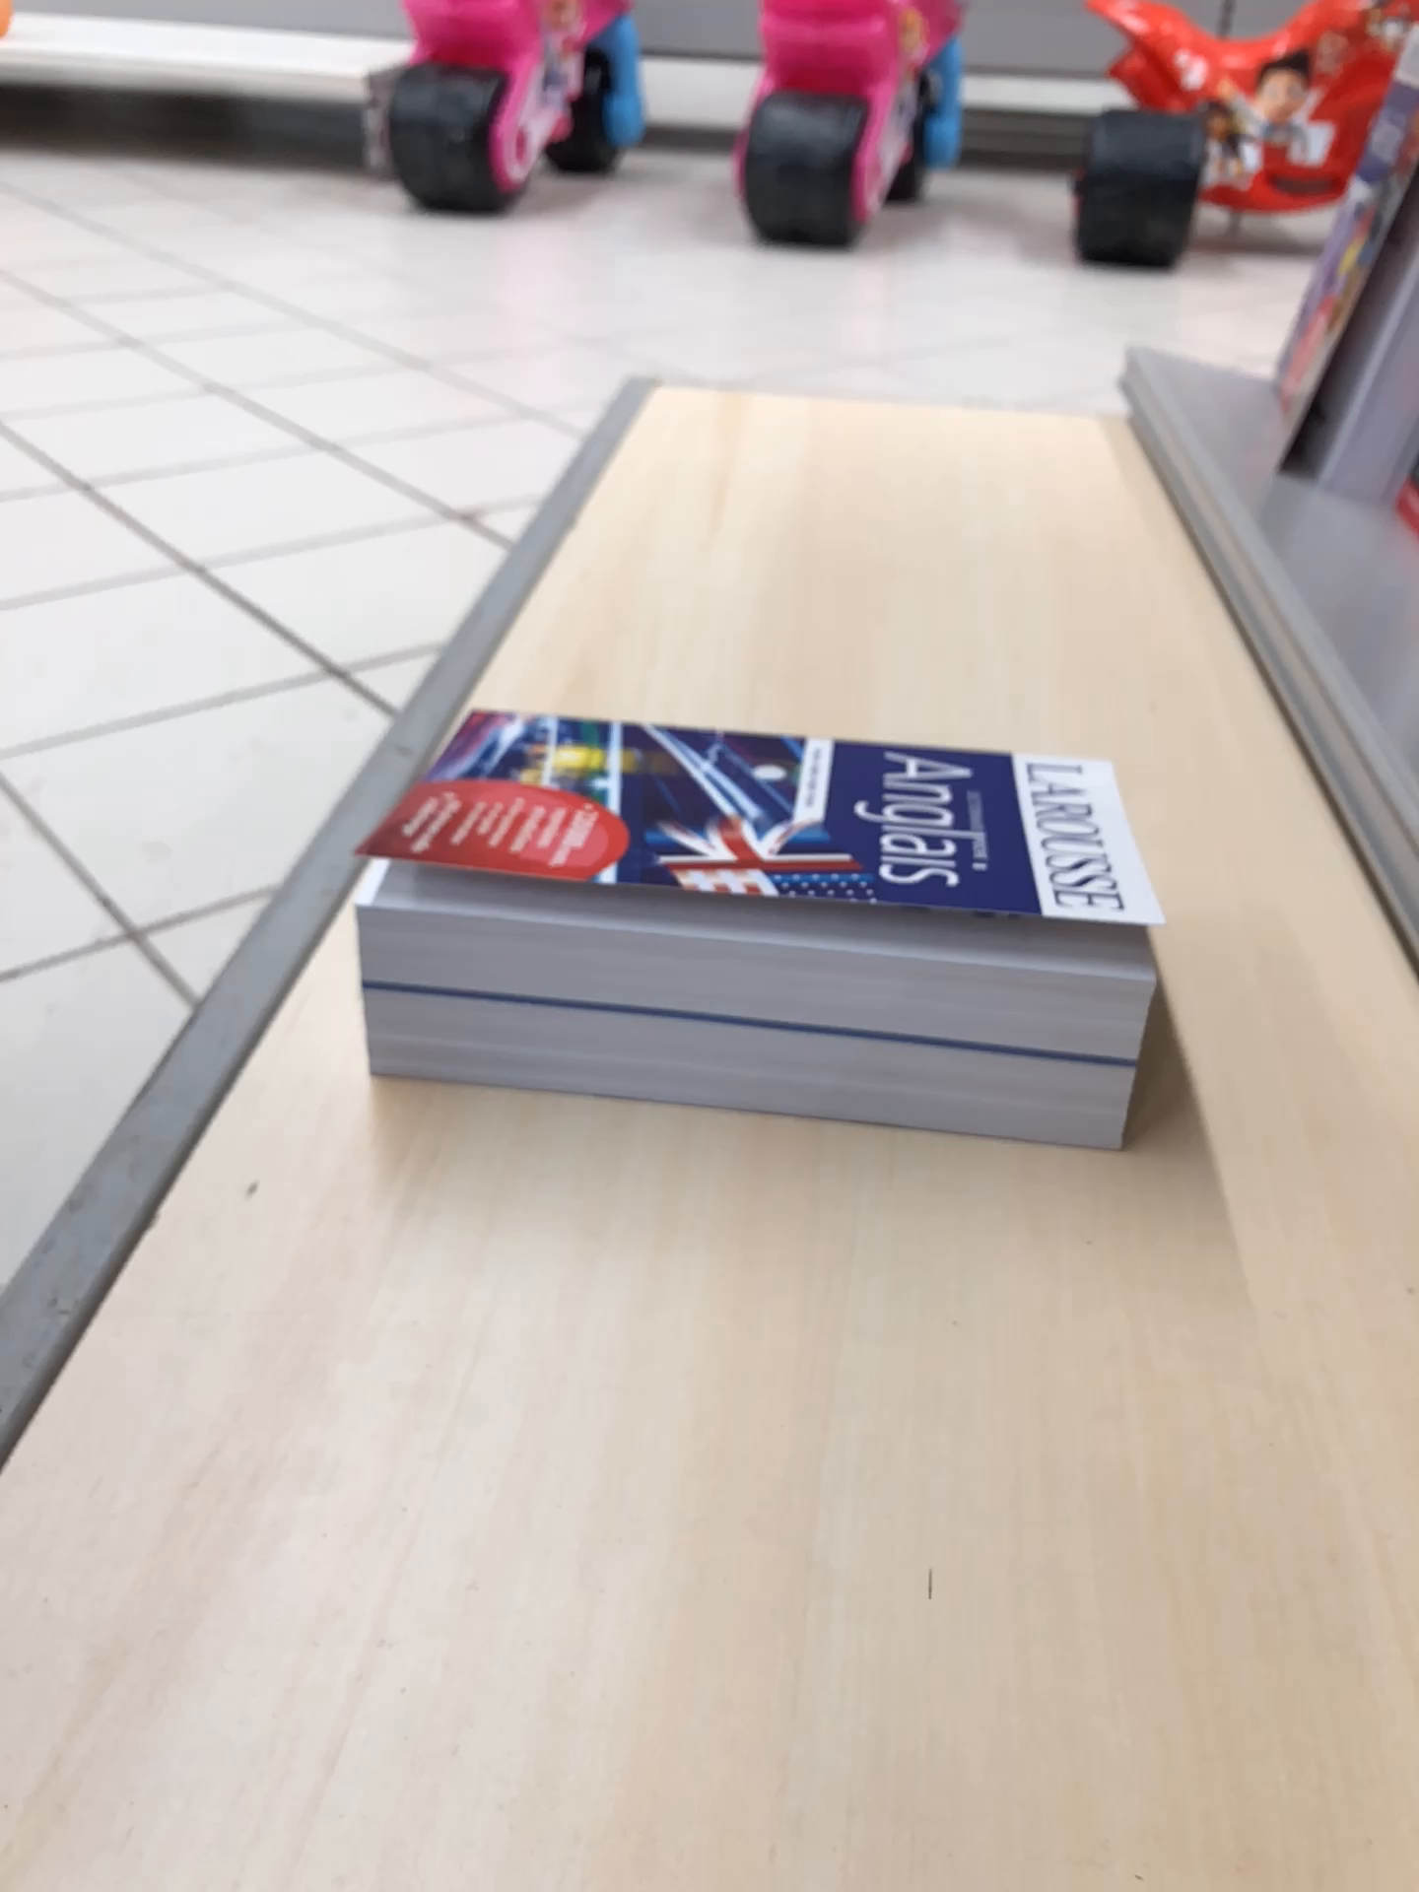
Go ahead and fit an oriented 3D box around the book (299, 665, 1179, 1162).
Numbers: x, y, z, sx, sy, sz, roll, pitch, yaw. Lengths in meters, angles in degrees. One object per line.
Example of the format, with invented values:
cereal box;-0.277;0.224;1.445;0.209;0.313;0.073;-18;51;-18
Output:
book;0.011;-0.015;0.387;0.181;0.054;0.118;5;32;5
